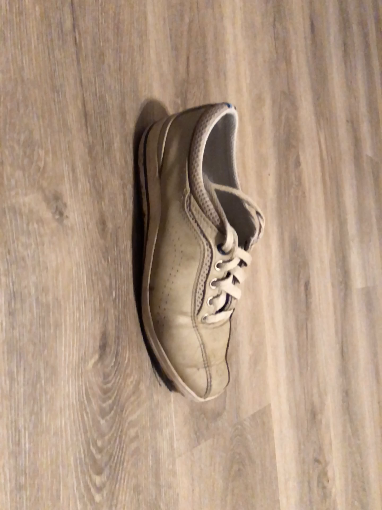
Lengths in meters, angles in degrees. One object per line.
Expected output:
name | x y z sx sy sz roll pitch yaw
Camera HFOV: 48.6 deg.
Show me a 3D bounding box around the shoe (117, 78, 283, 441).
shoe | 0.010 0.003 0.348 0.091 0.070 0.250 -5 88 -53
